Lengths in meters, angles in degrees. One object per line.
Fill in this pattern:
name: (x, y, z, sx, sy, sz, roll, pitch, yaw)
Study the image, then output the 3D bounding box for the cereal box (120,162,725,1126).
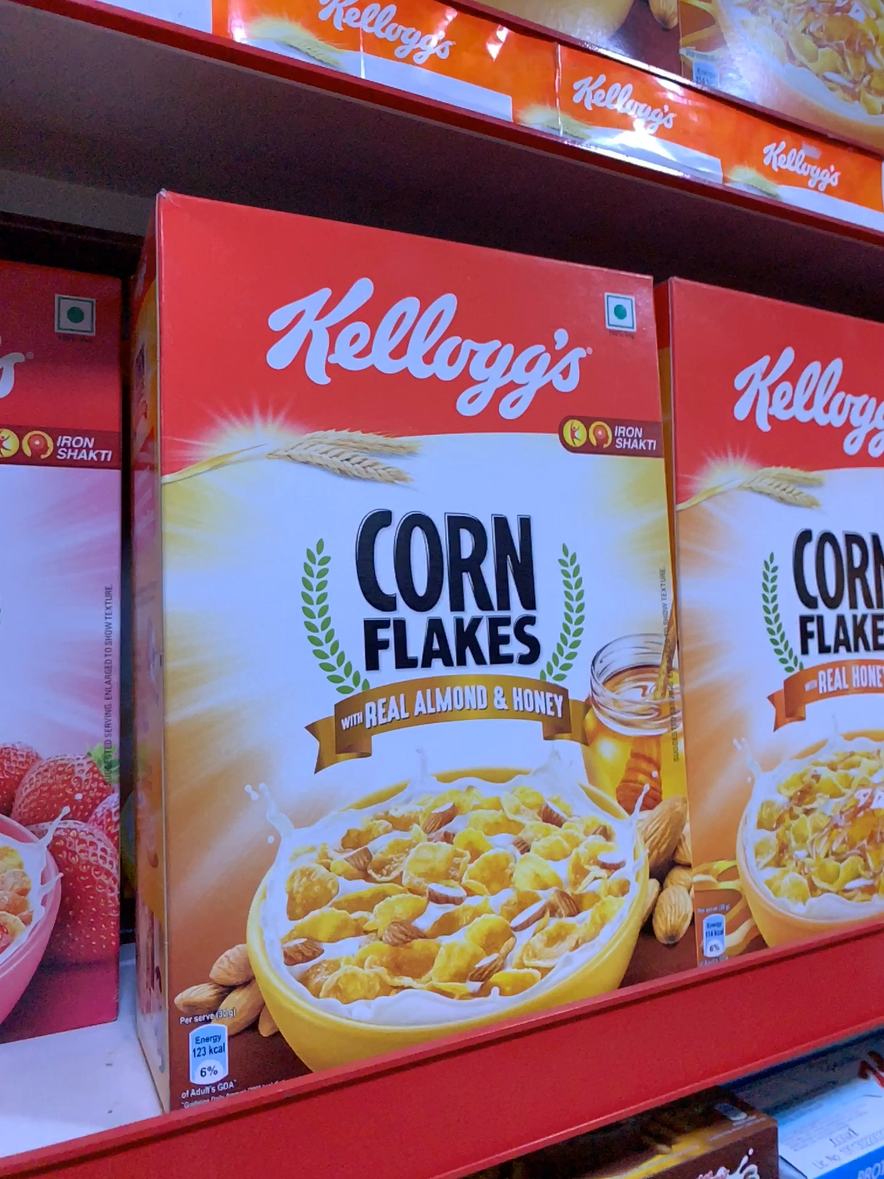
cereal box: (-0.005, 0.010, 0.285, 0.170, 0.230, 0.060, -1, -3, -26)
